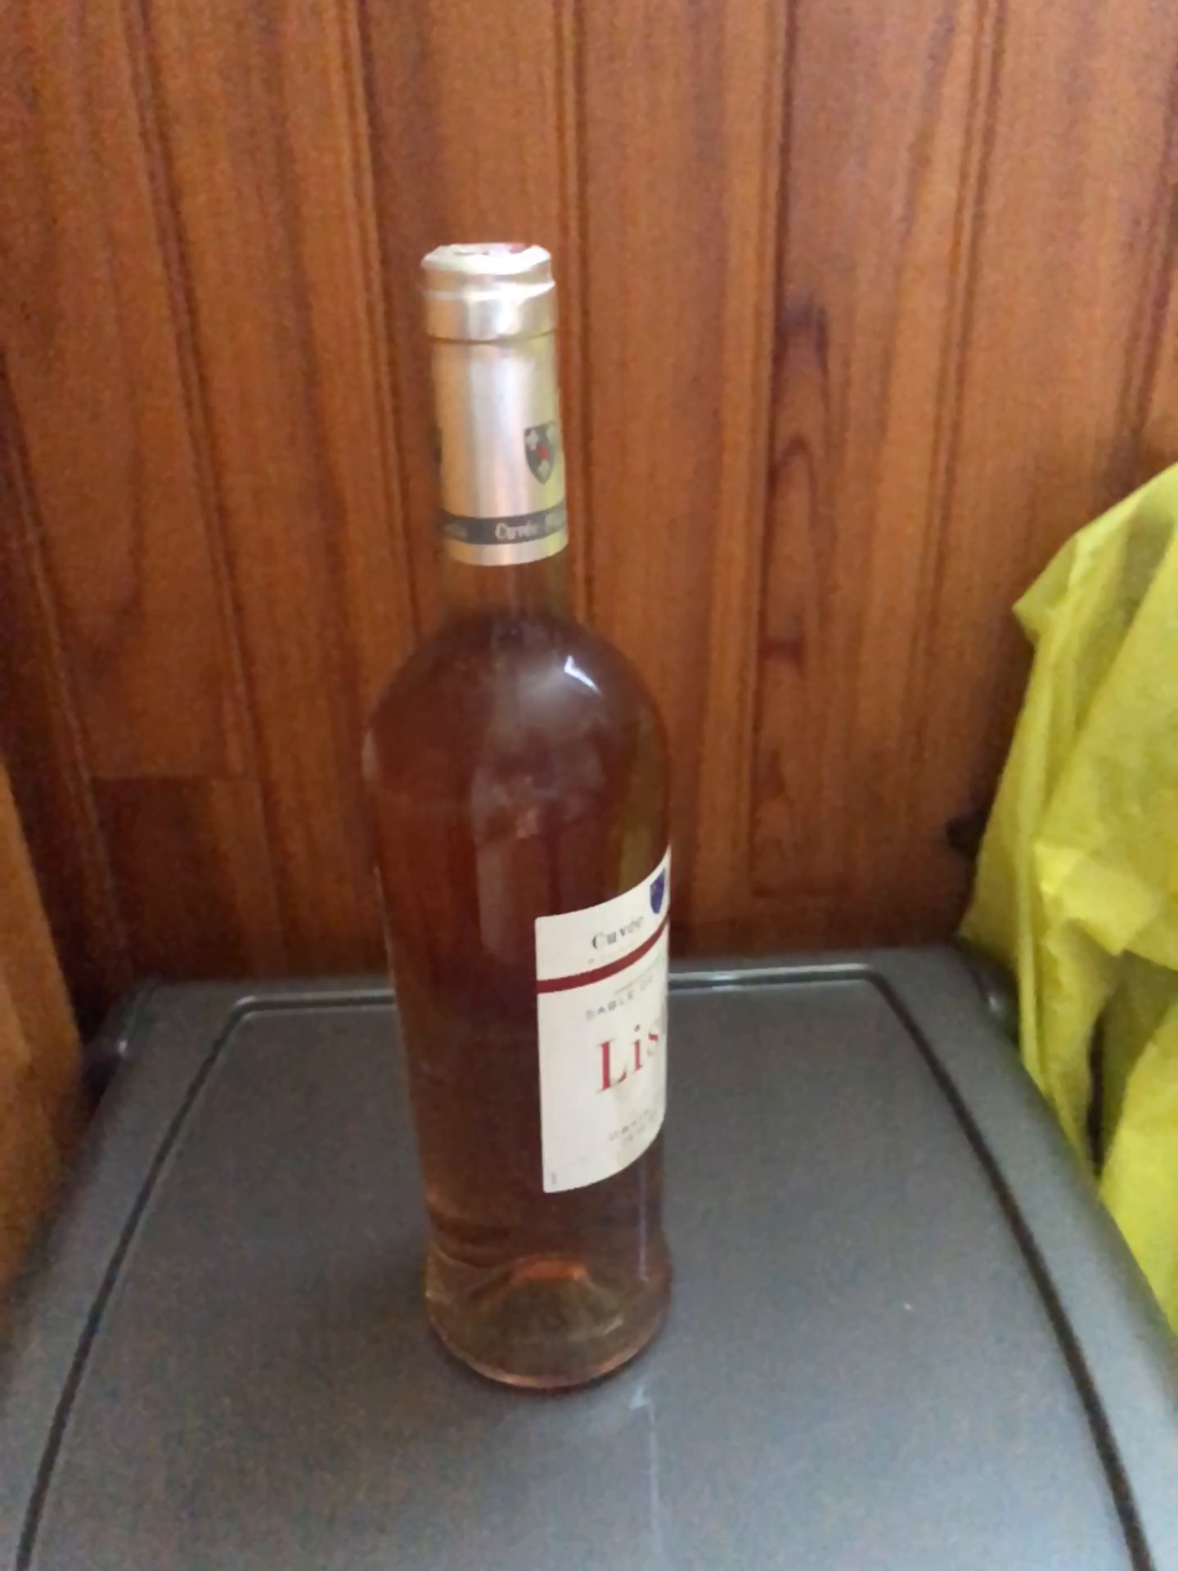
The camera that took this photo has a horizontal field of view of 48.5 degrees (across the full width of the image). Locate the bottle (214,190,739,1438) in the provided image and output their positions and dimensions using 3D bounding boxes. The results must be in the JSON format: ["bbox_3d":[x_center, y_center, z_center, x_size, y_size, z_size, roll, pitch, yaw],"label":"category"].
[{"bbox_3d":[-0.016,0.021,0.345,0.080,0.318,0.081,-1,28,1],"label":"bottle"}]
